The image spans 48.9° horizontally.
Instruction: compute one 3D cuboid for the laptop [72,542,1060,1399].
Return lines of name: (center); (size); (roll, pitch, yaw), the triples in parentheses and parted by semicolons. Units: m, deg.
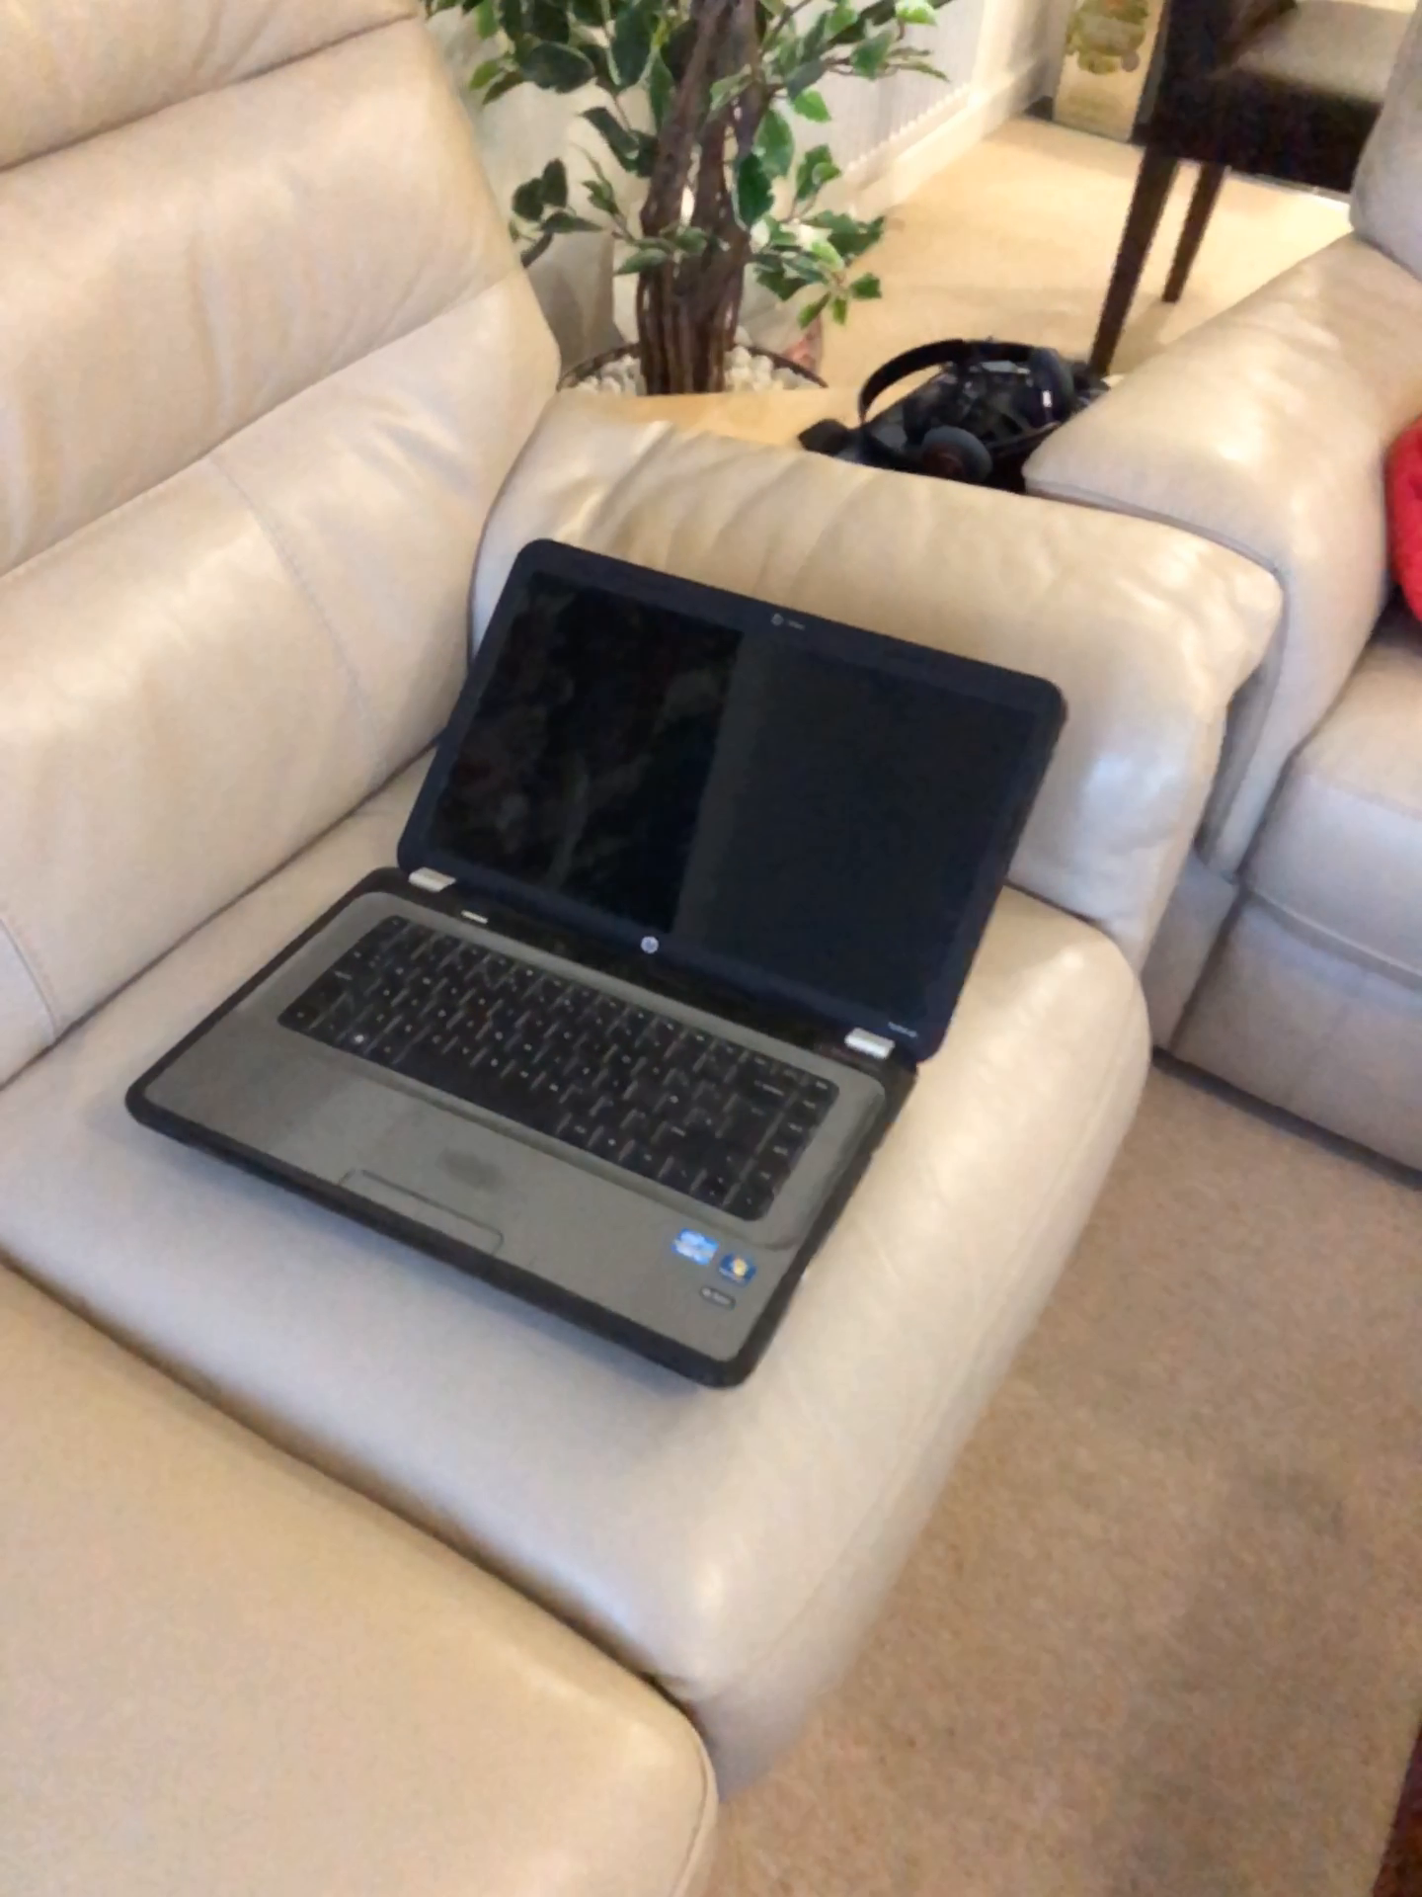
laptop: (-0.053, -0.028, 0.868); (0.358, 0.114, 0.426); (22, 48, 16)
